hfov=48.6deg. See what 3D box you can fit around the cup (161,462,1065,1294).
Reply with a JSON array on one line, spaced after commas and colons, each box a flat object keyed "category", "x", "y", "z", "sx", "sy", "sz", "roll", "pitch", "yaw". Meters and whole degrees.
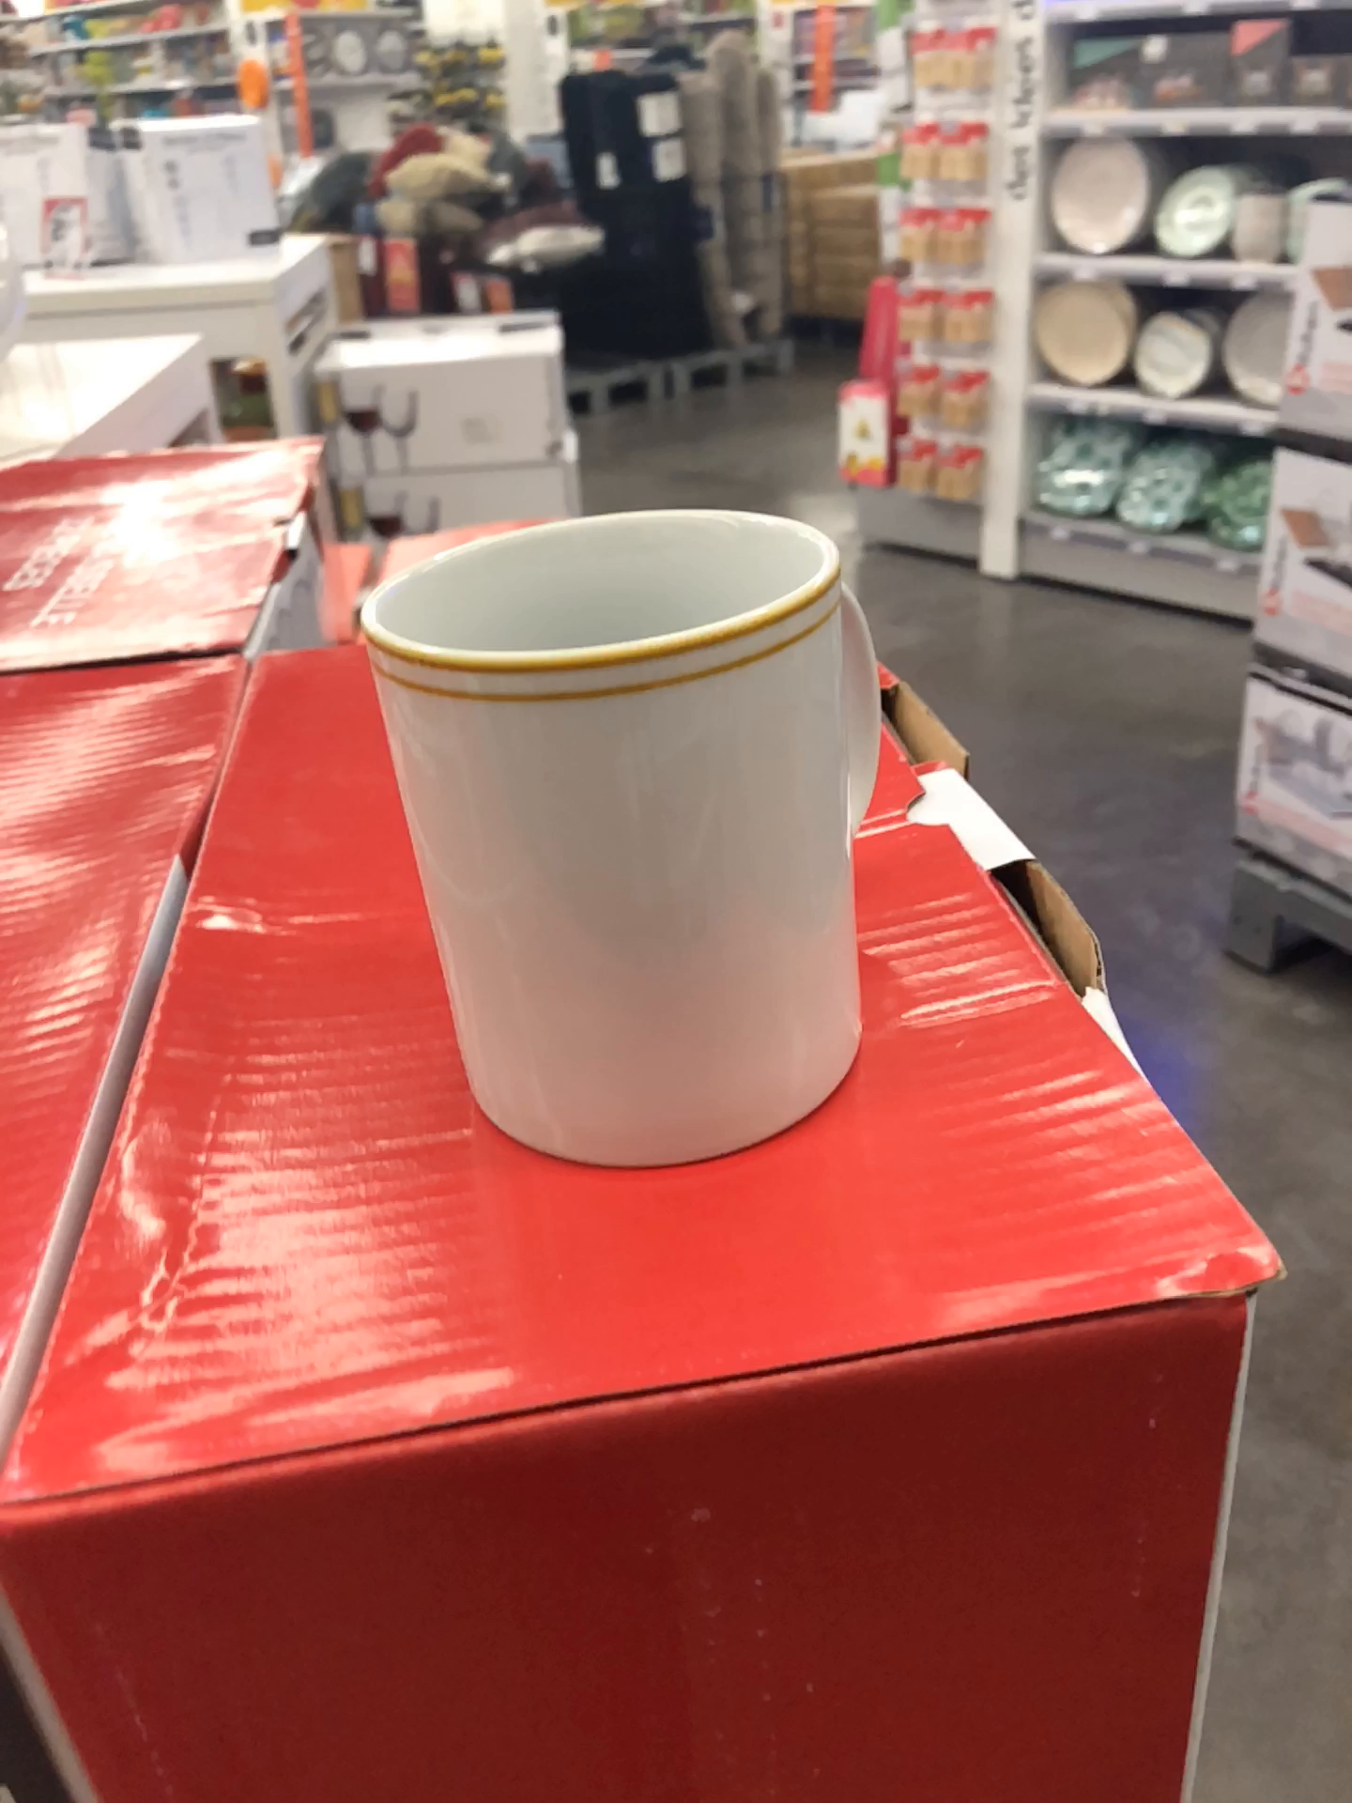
[{"category": "cup", "x": -0.005, "y": -0.017, "z": 0.266, "sx": 0.096, "sy": 0.091, "sz": 0.116, "roll": 18, "pitch": 34, "yaw": 37}]
